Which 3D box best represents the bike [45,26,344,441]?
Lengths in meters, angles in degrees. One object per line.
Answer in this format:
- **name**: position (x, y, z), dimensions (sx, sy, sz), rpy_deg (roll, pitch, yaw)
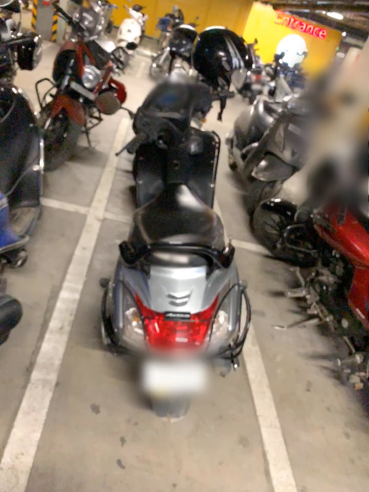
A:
- **bike**: position (-0.107, -0.201, 1.777), dimensions (0.630, 1.090, 1.539), rpy_deg (10, 34, -13)
